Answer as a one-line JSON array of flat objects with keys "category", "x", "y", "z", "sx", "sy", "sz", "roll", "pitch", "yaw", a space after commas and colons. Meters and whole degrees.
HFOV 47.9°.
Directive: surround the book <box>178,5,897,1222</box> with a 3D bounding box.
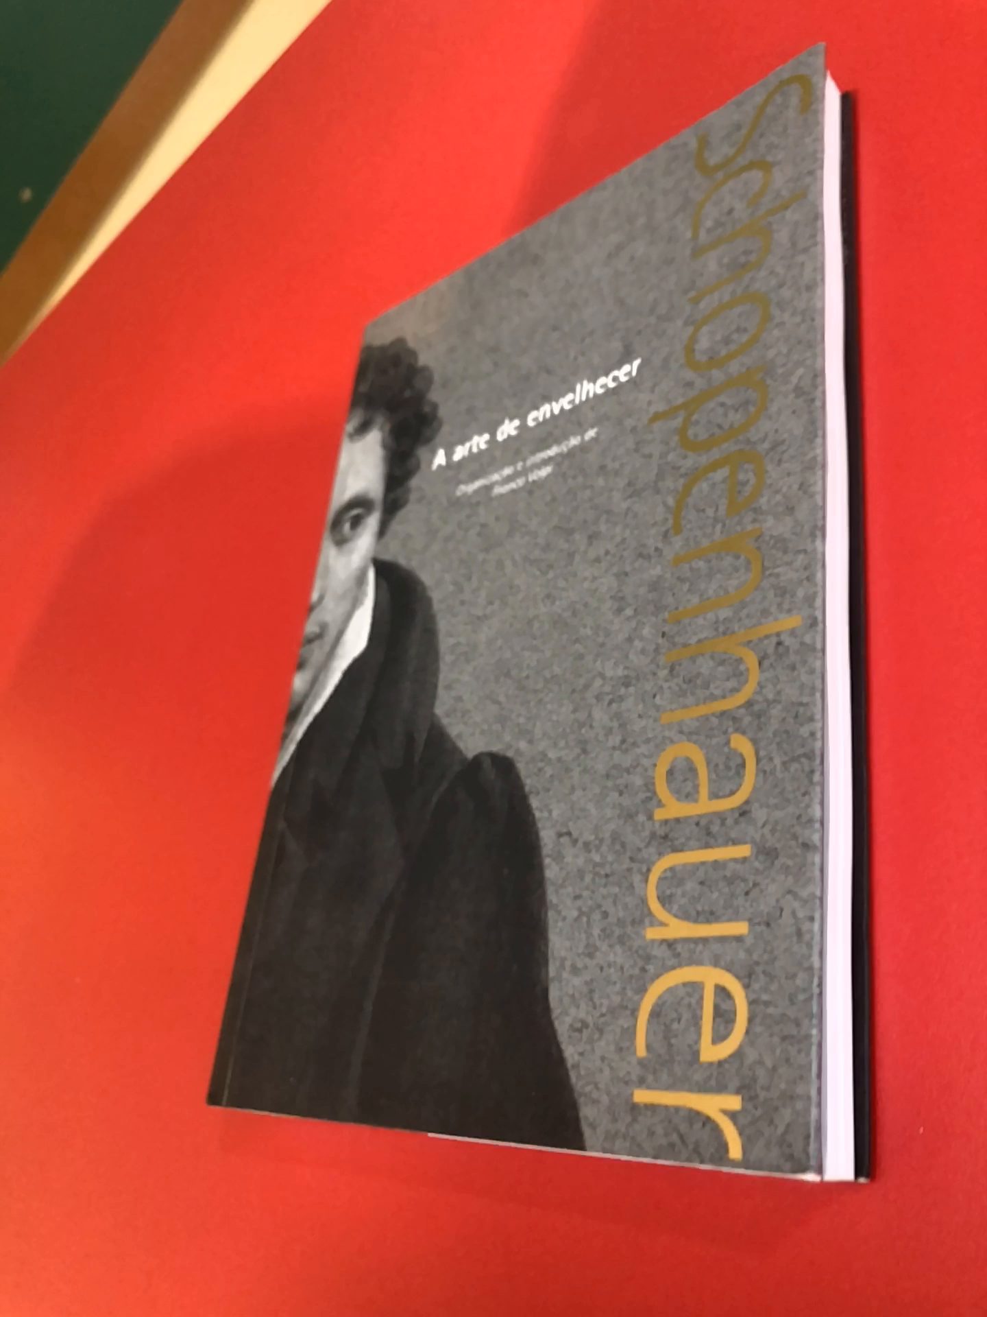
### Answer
[{"category": "book", "x": 0.005, "y": -0.012, "z": 0.213, "sx": 0.137, "sy": 0.017, "sz": 0.196, "roll": -15, "pitch": 58, "yaw": 42}]
